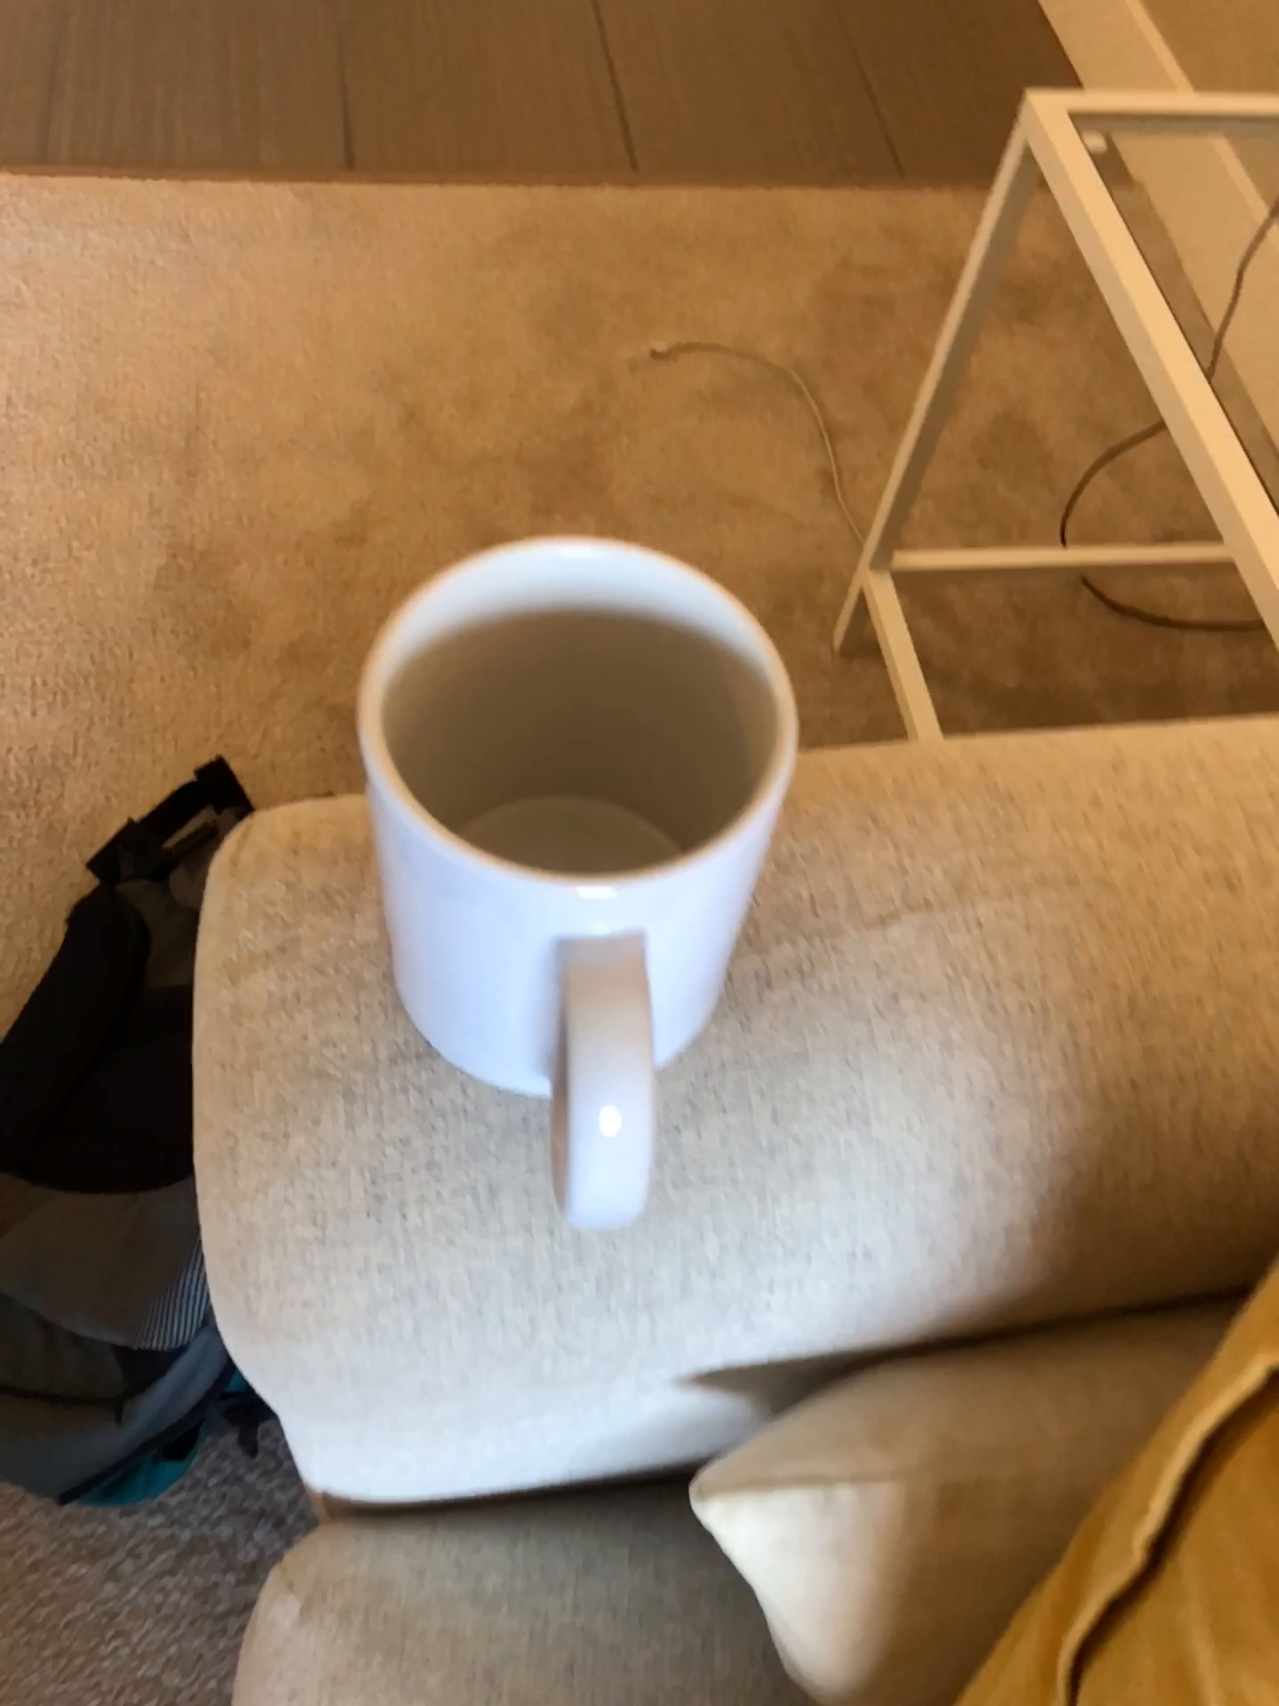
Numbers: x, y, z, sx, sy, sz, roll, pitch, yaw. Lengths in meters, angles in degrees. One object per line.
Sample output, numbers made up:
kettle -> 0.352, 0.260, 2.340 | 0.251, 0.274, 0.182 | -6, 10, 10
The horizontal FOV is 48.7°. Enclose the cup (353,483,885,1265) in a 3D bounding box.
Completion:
cup -> -0.012, 0.007, 0.285 | 0.080, 0.100, 0.120 | 0, 58, -8
